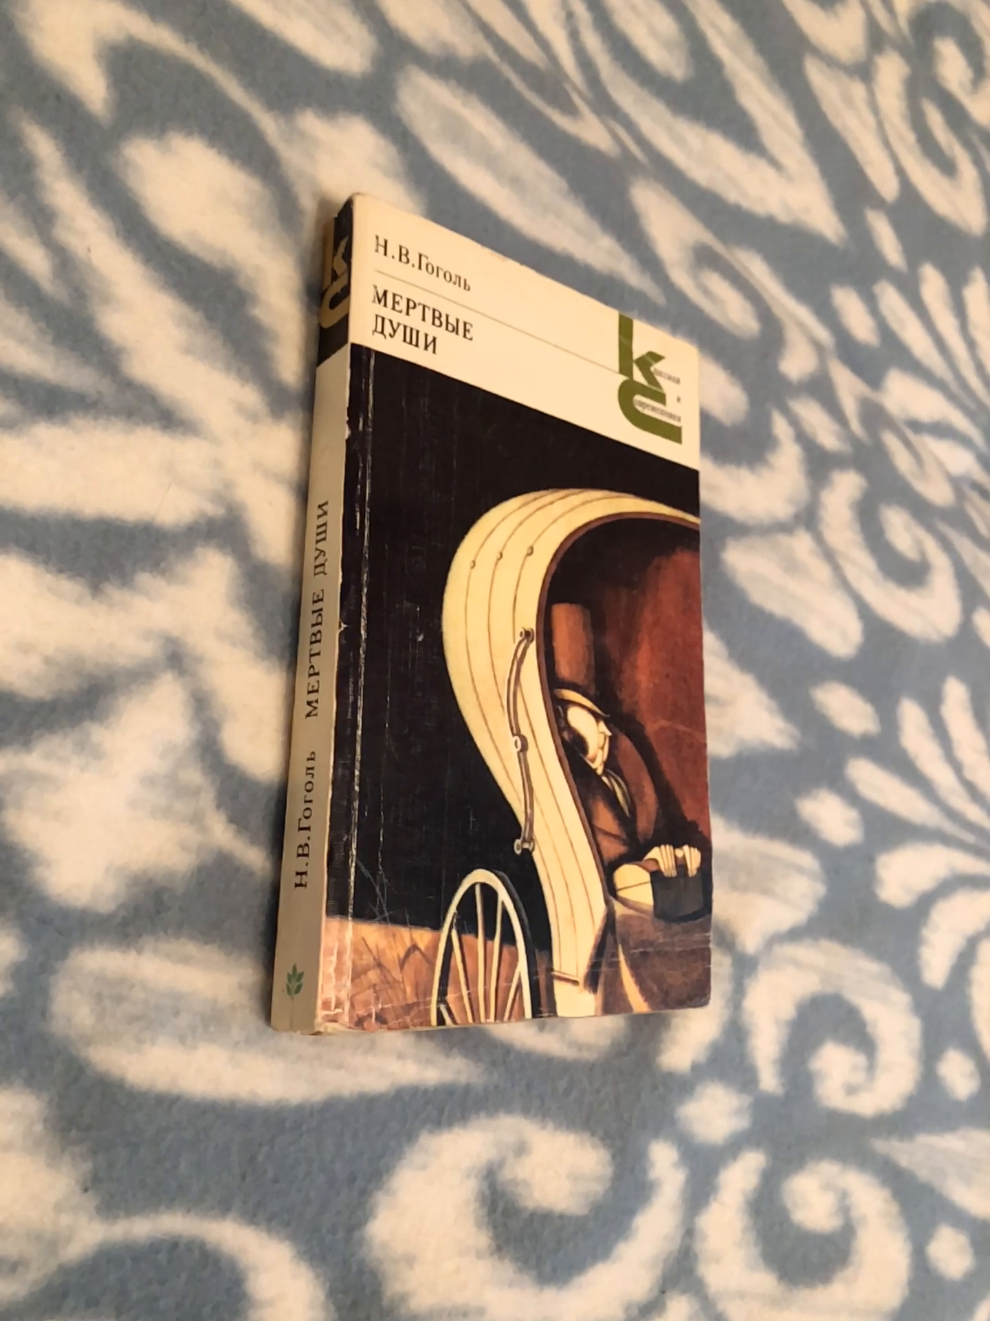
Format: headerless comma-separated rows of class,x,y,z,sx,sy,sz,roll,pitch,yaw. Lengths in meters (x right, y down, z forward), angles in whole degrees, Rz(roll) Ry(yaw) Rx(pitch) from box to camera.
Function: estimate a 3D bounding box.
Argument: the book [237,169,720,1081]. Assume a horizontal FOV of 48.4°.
book,0.004,-0.005,0.281,0.126,0.025,0.199,11,74,-38
